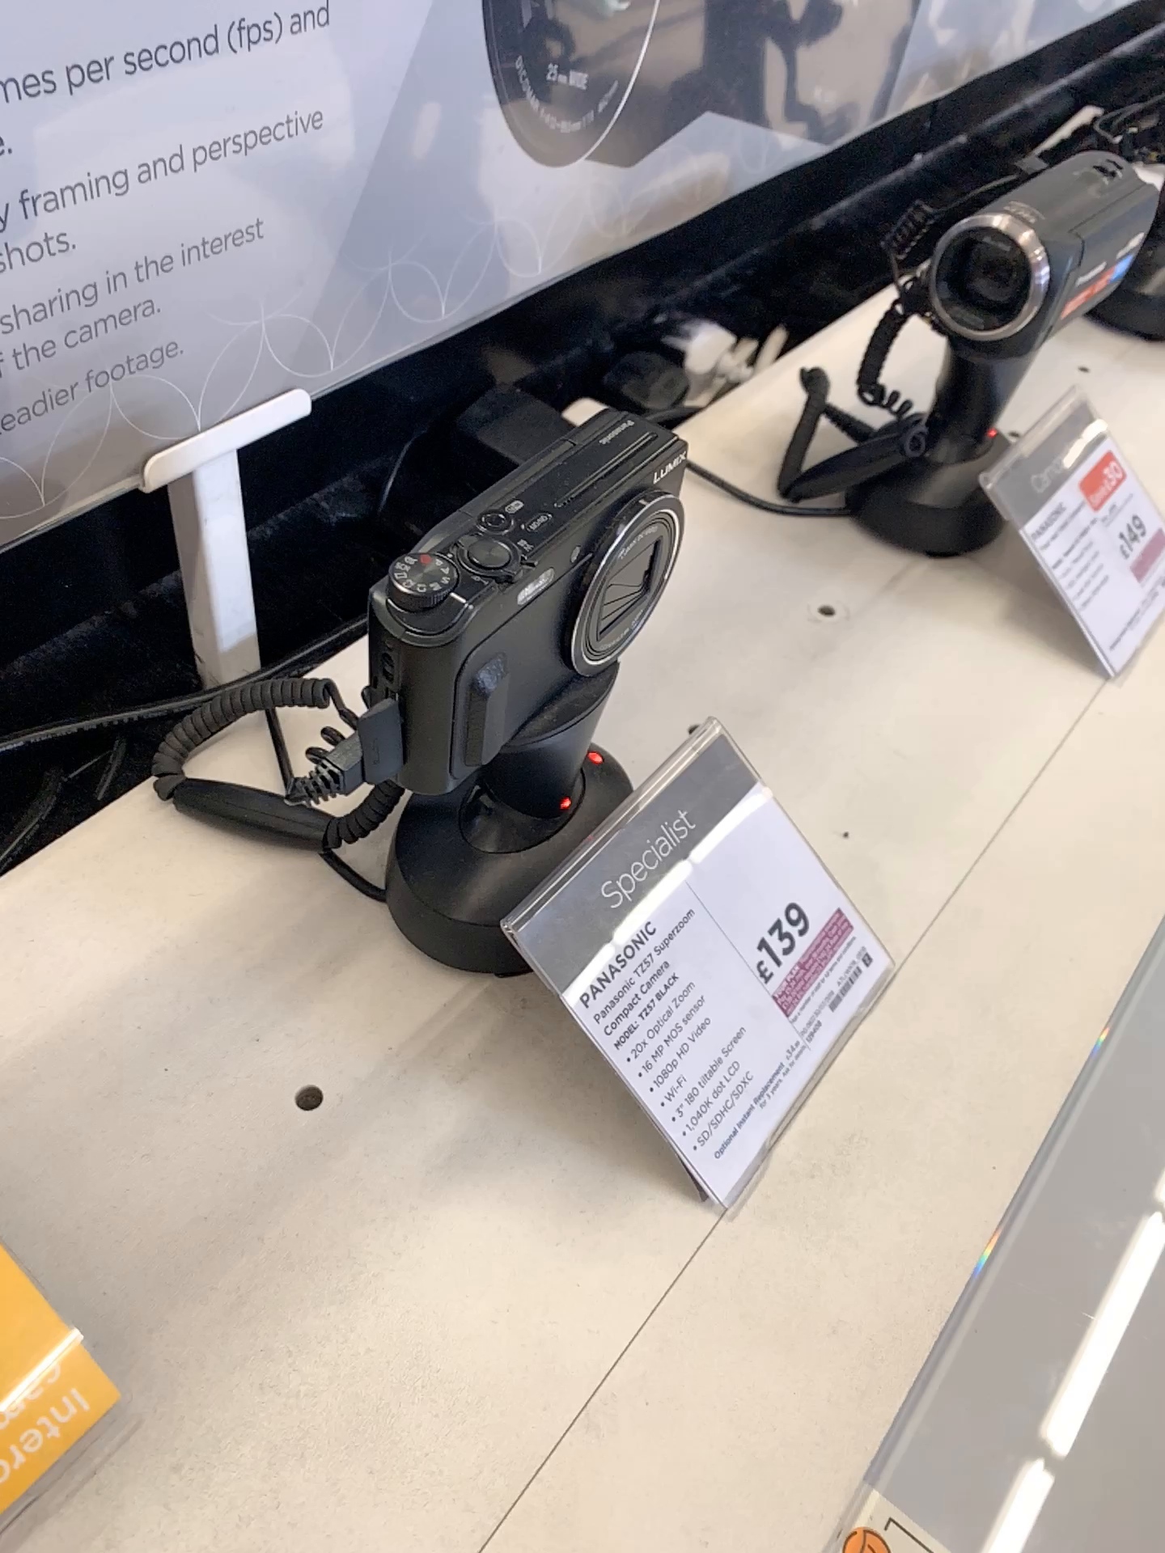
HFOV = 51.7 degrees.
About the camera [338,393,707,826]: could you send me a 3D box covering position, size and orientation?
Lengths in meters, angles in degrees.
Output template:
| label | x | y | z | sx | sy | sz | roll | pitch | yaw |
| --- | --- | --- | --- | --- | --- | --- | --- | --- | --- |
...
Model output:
| label | x | y | z | sx | sy | sz | roll | pitch | yaw |
| --- | --- | --- | --- | --- | --- | --- | --- | --- | --- |
| camera | -0.014 | -0.047 | 0.314 | 0.030 | 0.059 | 0.111 | 31 | 51 | 17 |
